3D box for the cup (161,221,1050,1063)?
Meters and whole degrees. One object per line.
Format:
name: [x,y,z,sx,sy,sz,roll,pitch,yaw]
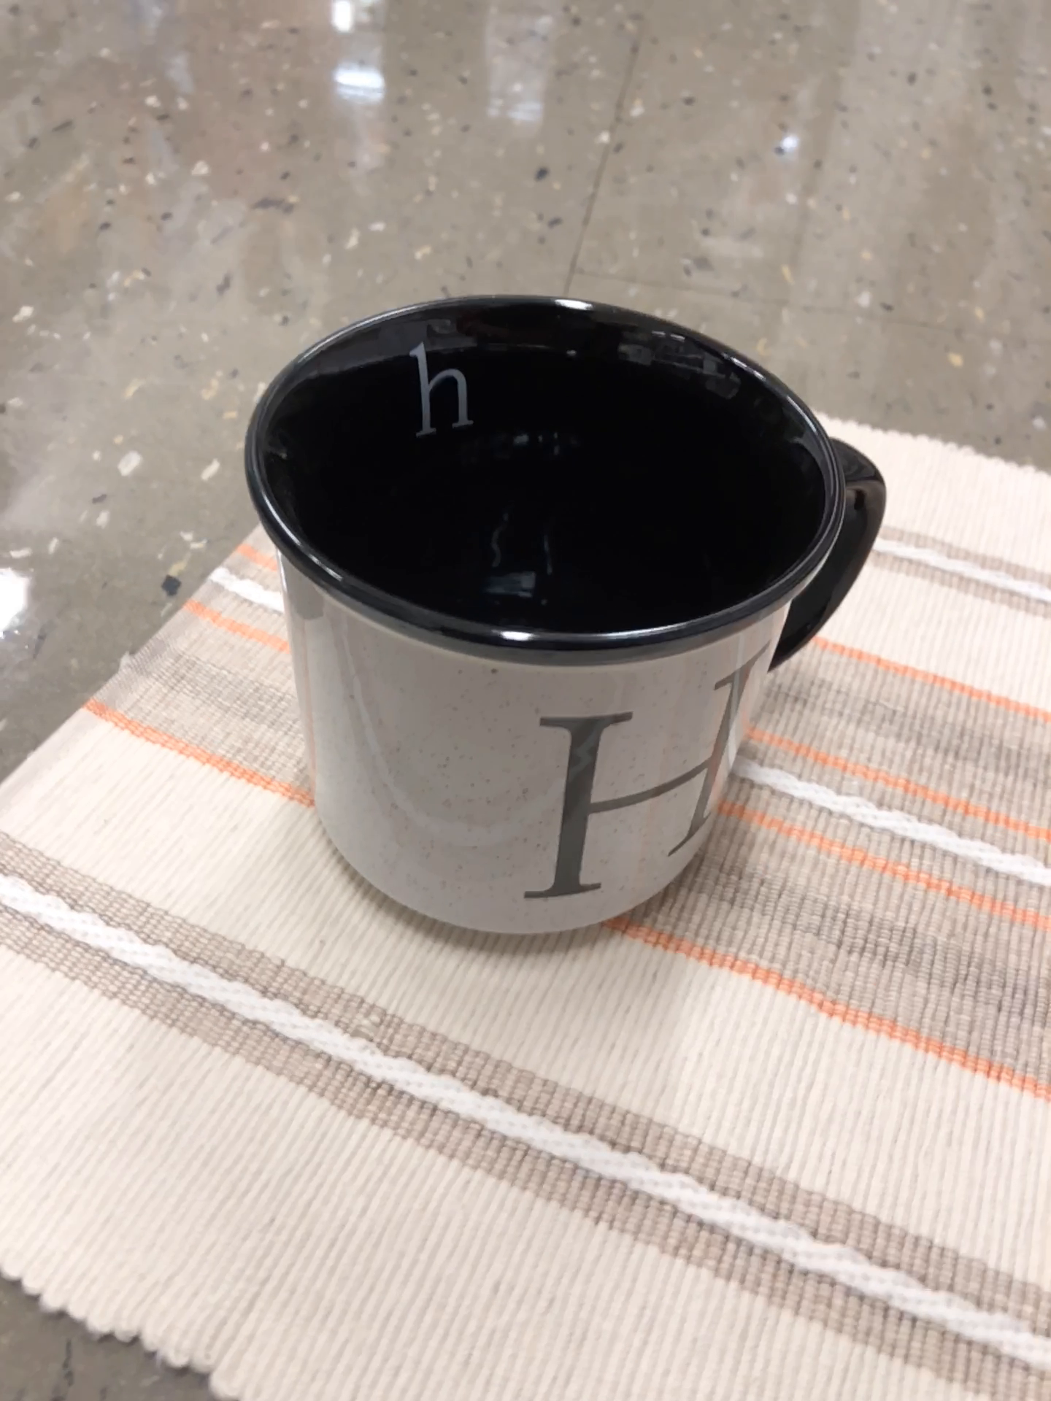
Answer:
cup: [0.016,-0.018,0.242,0.140,0.100,0.100,-17,51,-20]
